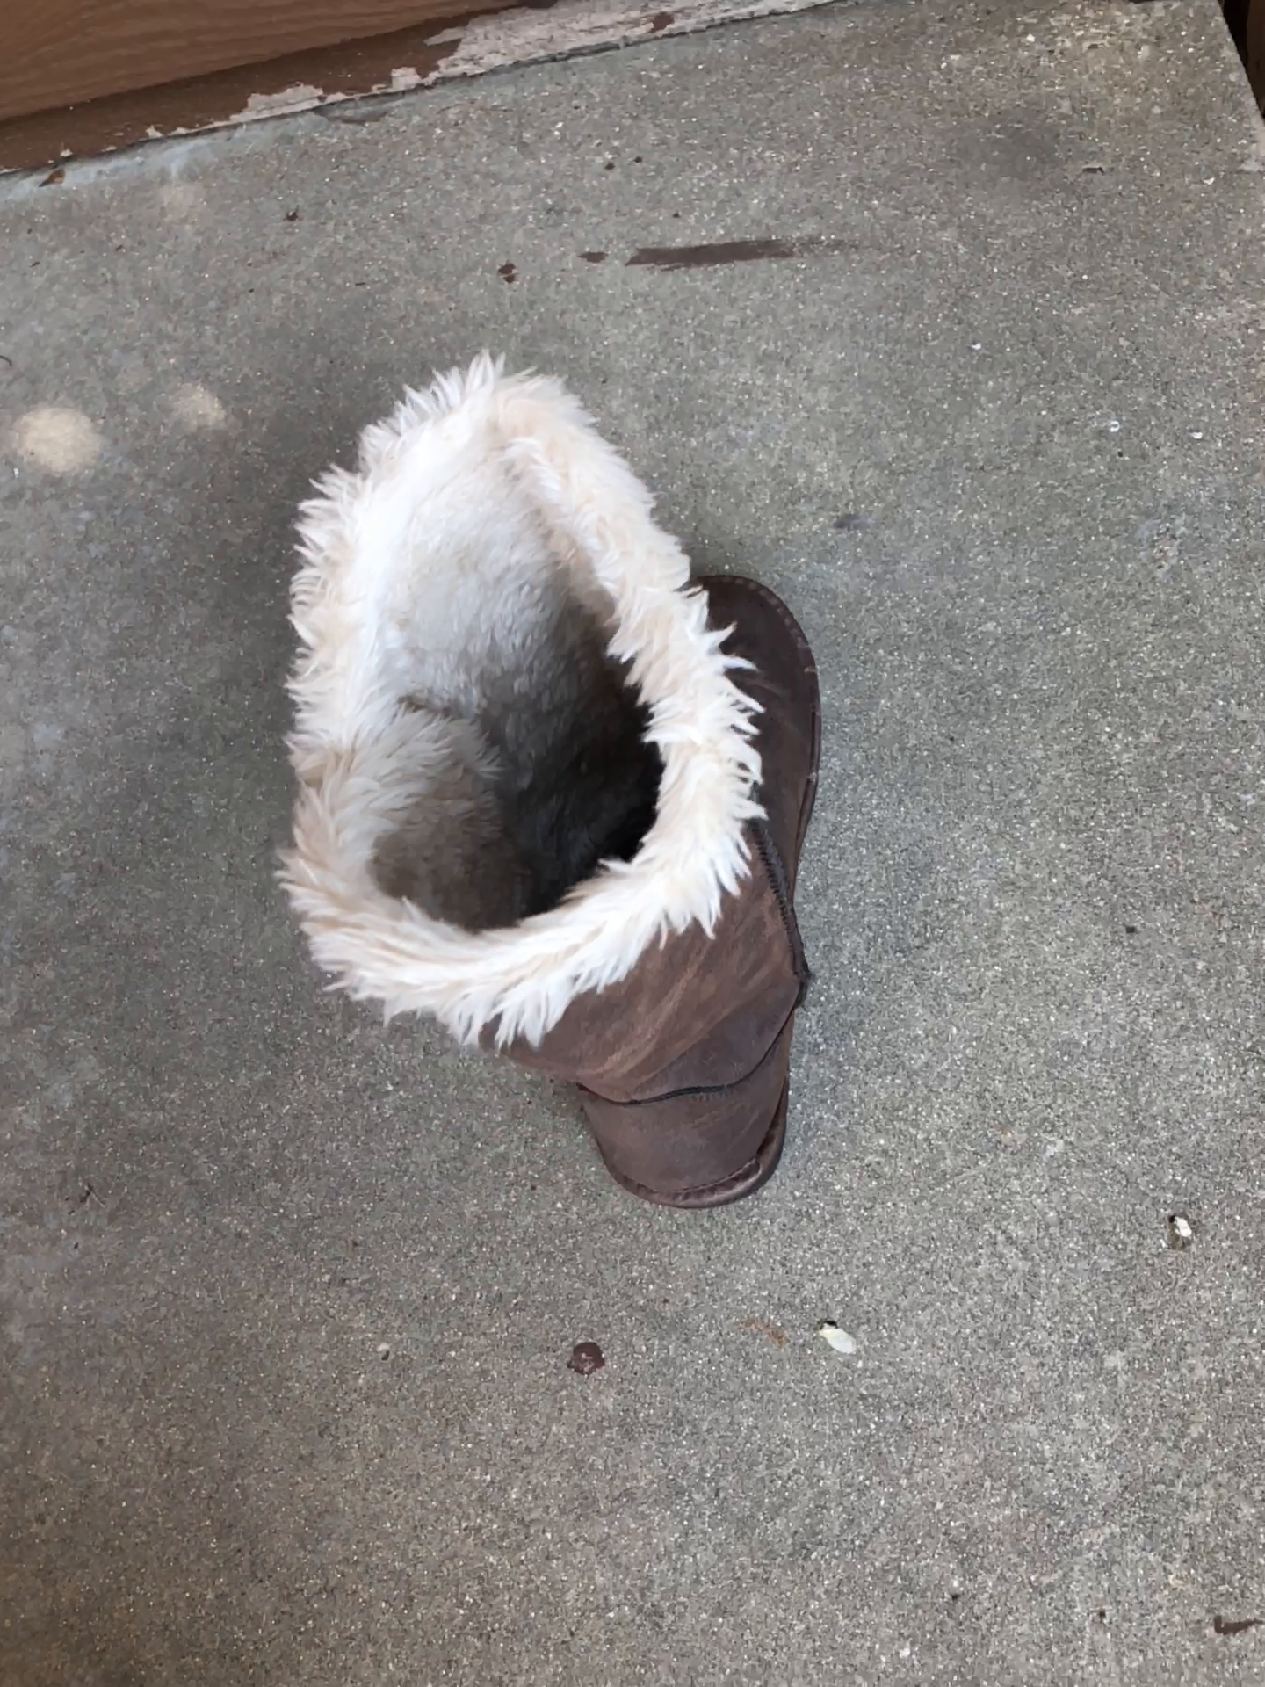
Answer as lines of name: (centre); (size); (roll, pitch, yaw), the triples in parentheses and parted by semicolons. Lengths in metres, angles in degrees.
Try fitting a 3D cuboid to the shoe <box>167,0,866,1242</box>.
shoe: (0.007, -0.034, 0.470); (0.120, 0.320, 0.280); (-1, 67, 13)
